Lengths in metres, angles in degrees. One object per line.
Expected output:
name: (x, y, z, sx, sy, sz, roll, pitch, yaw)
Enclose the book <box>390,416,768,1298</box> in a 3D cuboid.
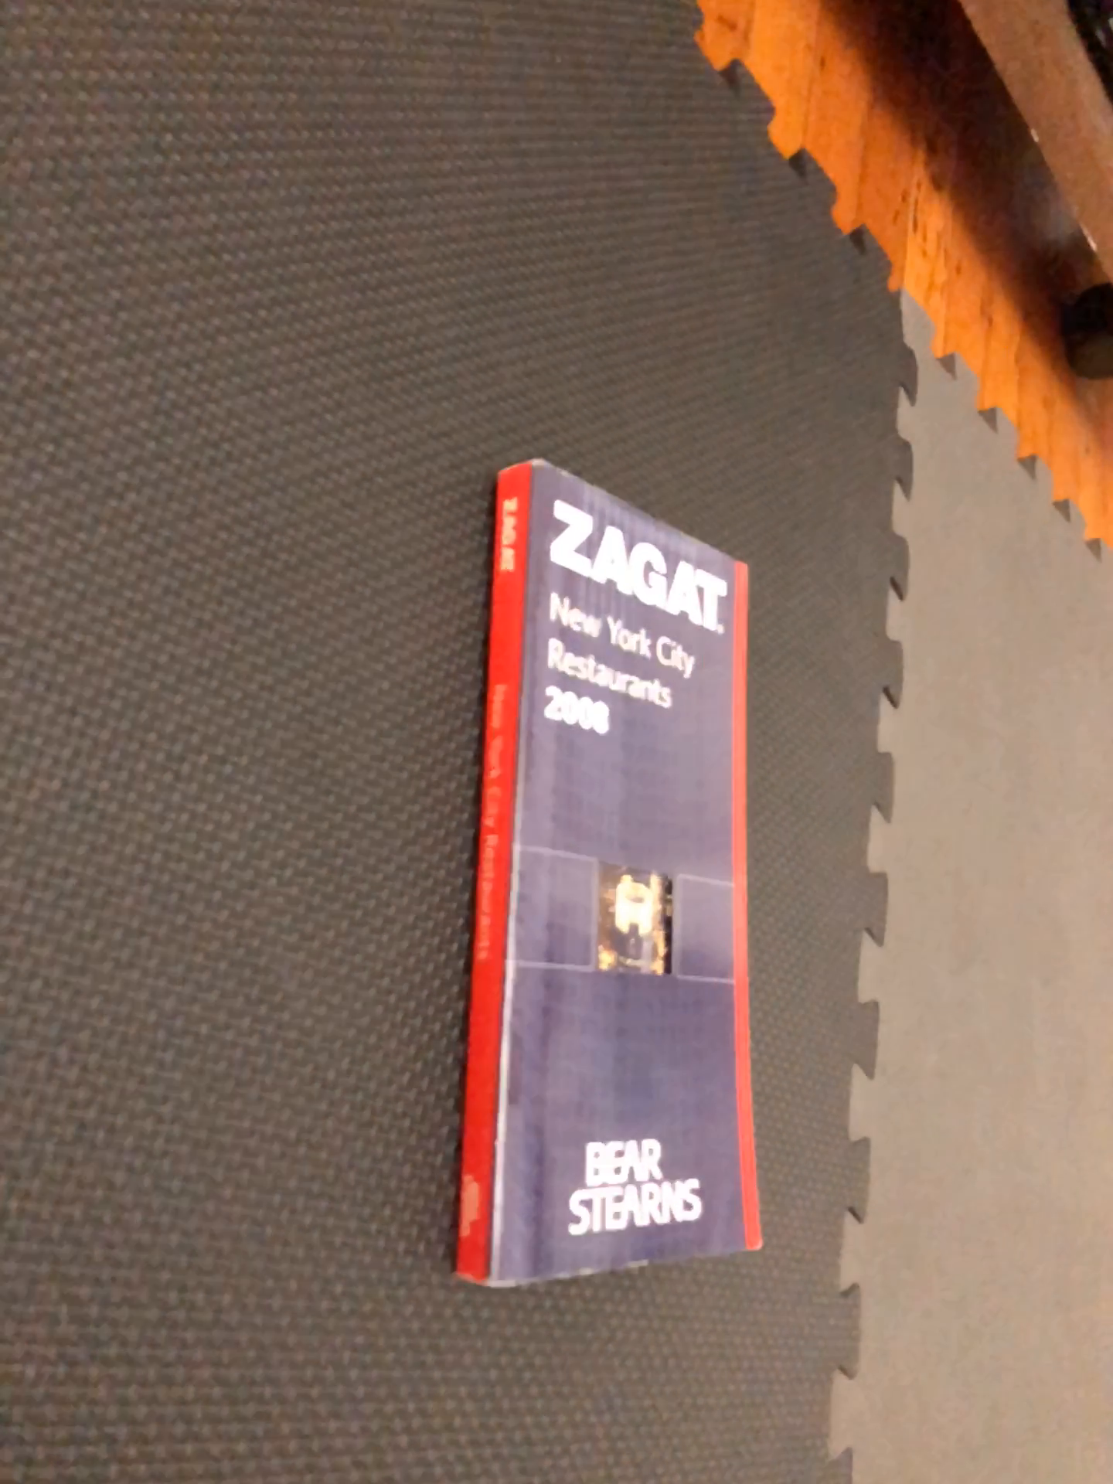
book: (0.015, 0.033, 0.356, 0.121, 0.030, 0.220, 15, 73, -46)
